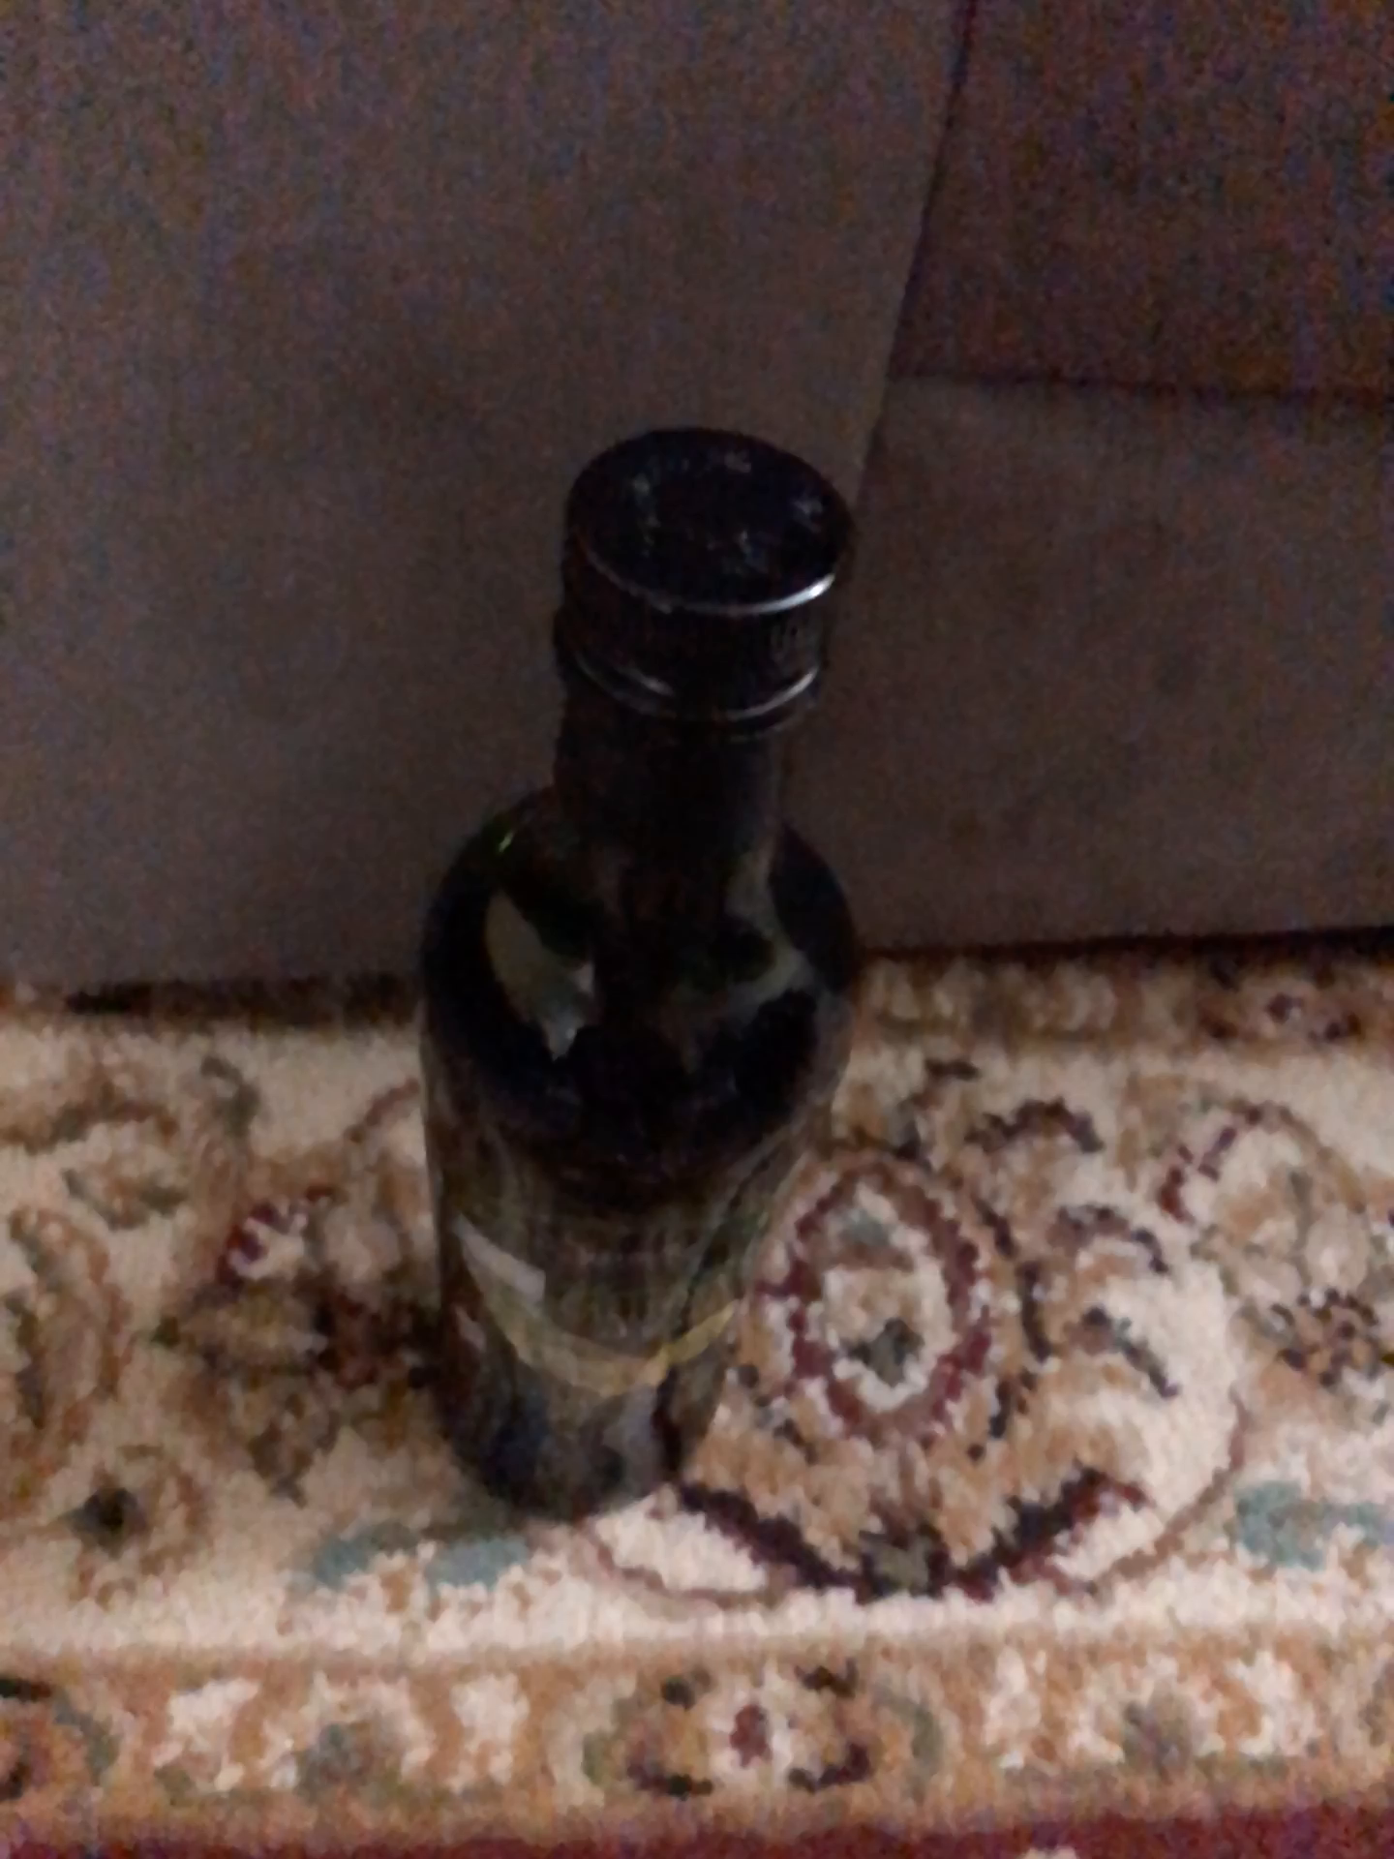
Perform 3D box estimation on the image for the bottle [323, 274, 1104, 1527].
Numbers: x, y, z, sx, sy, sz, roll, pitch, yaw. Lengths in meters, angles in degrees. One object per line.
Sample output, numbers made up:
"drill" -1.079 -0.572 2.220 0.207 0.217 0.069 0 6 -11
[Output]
"bottle" -0.011 0.025 0.281 0.080 0.260 0.070 -1 51 -7
